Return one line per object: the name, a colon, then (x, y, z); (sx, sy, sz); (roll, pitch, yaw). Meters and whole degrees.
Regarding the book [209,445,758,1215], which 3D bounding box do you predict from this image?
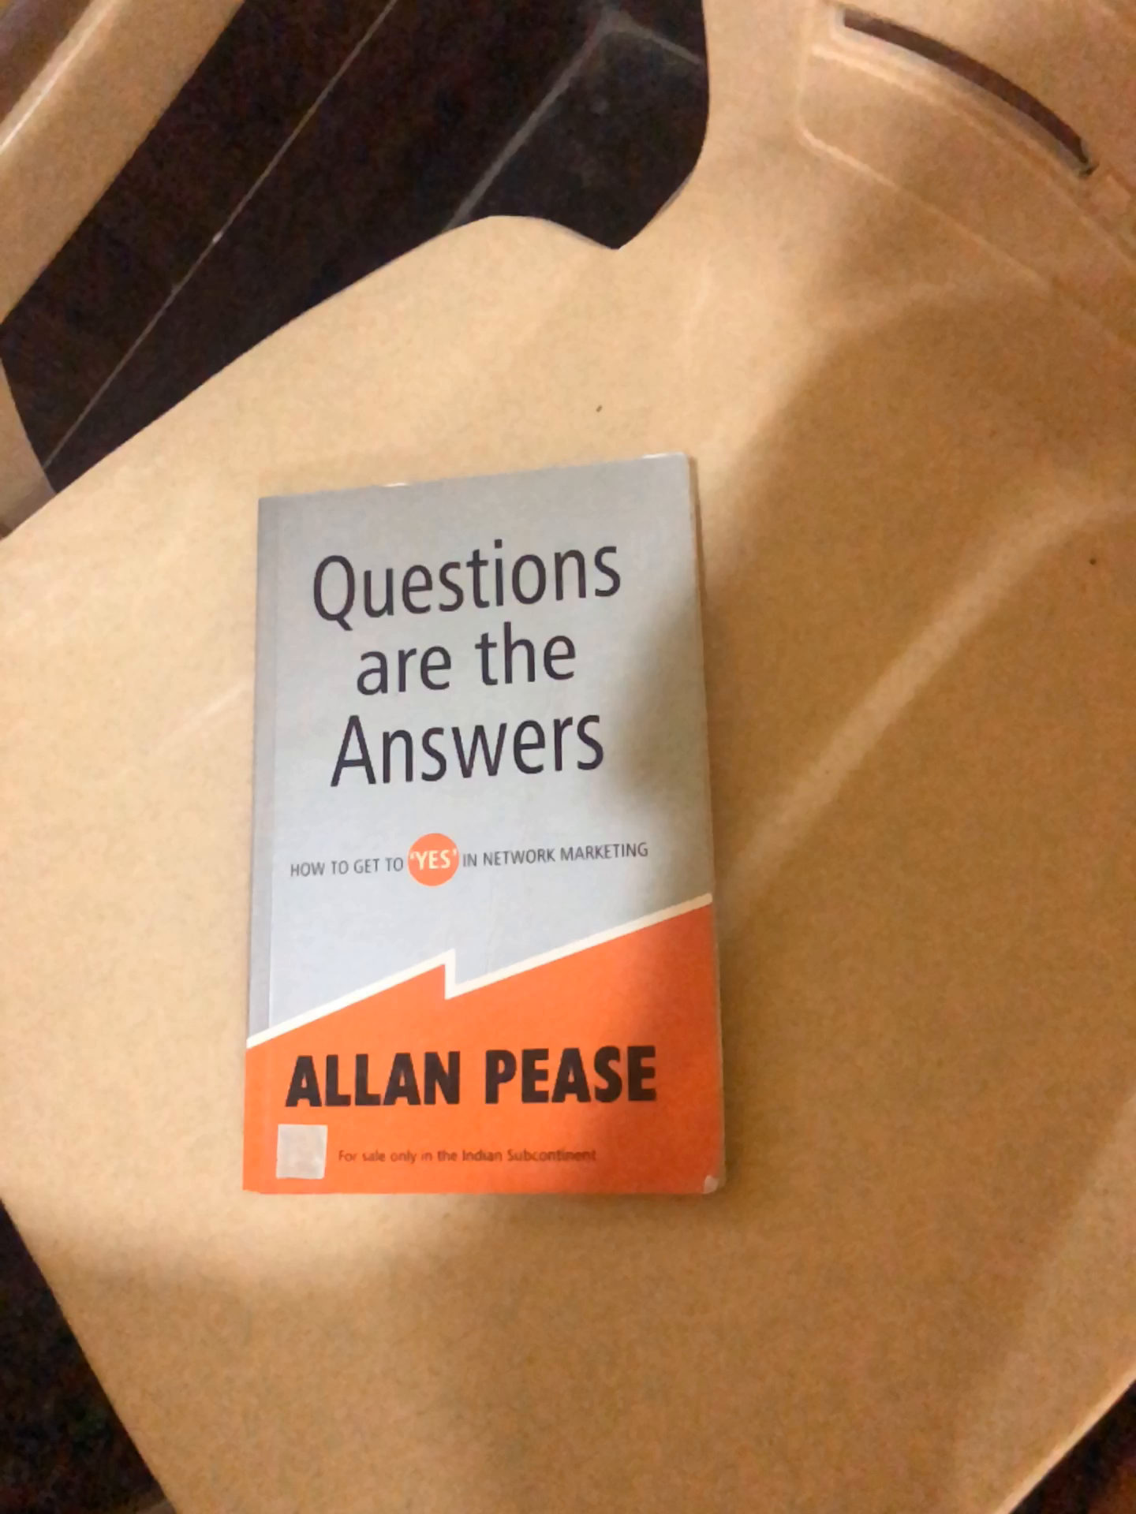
book: (-0.028, 0.021, 0.365); (0.150, 0.020, 0.210); (-5, 77, 13)
